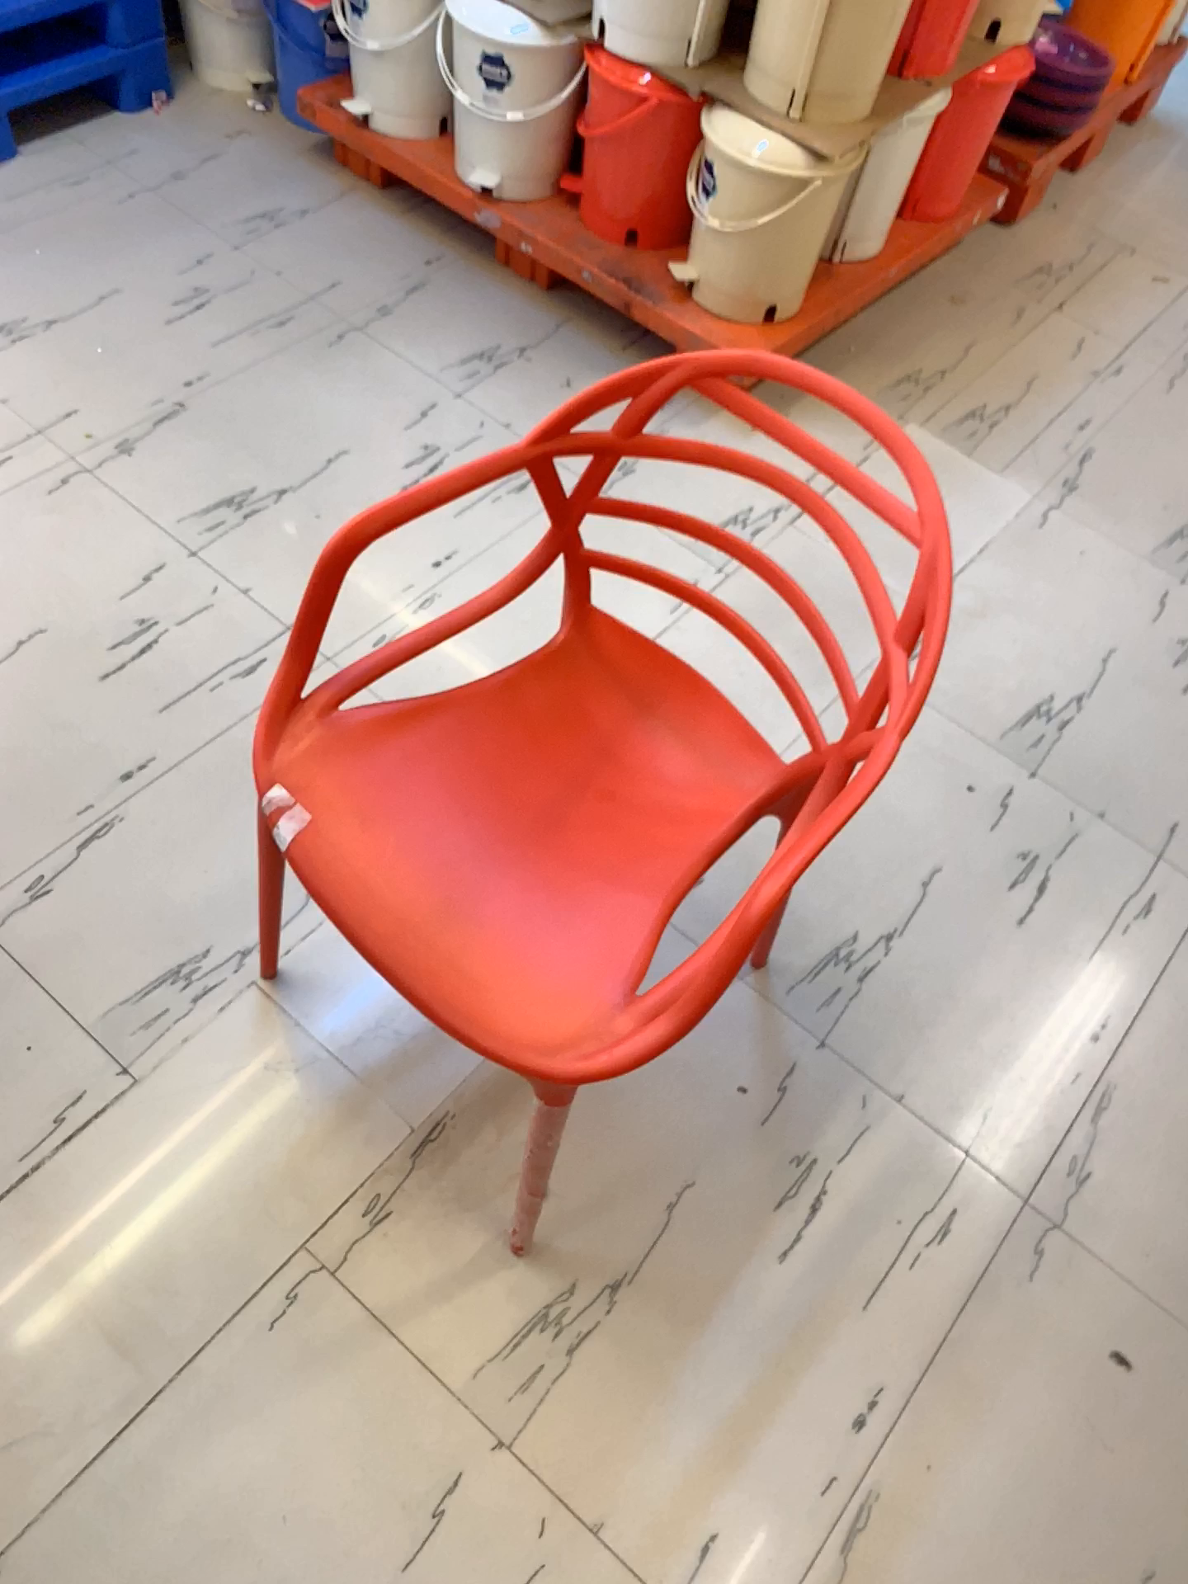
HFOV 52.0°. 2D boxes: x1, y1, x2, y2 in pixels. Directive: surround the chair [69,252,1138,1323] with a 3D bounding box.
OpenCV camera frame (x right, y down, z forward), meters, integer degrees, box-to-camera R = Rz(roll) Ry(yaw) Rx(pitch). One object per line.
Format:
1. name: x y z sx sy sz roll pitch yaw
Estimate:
1. chair: -0.008 0.001 1.202 0.551 0.656 0.633 41 58 19
